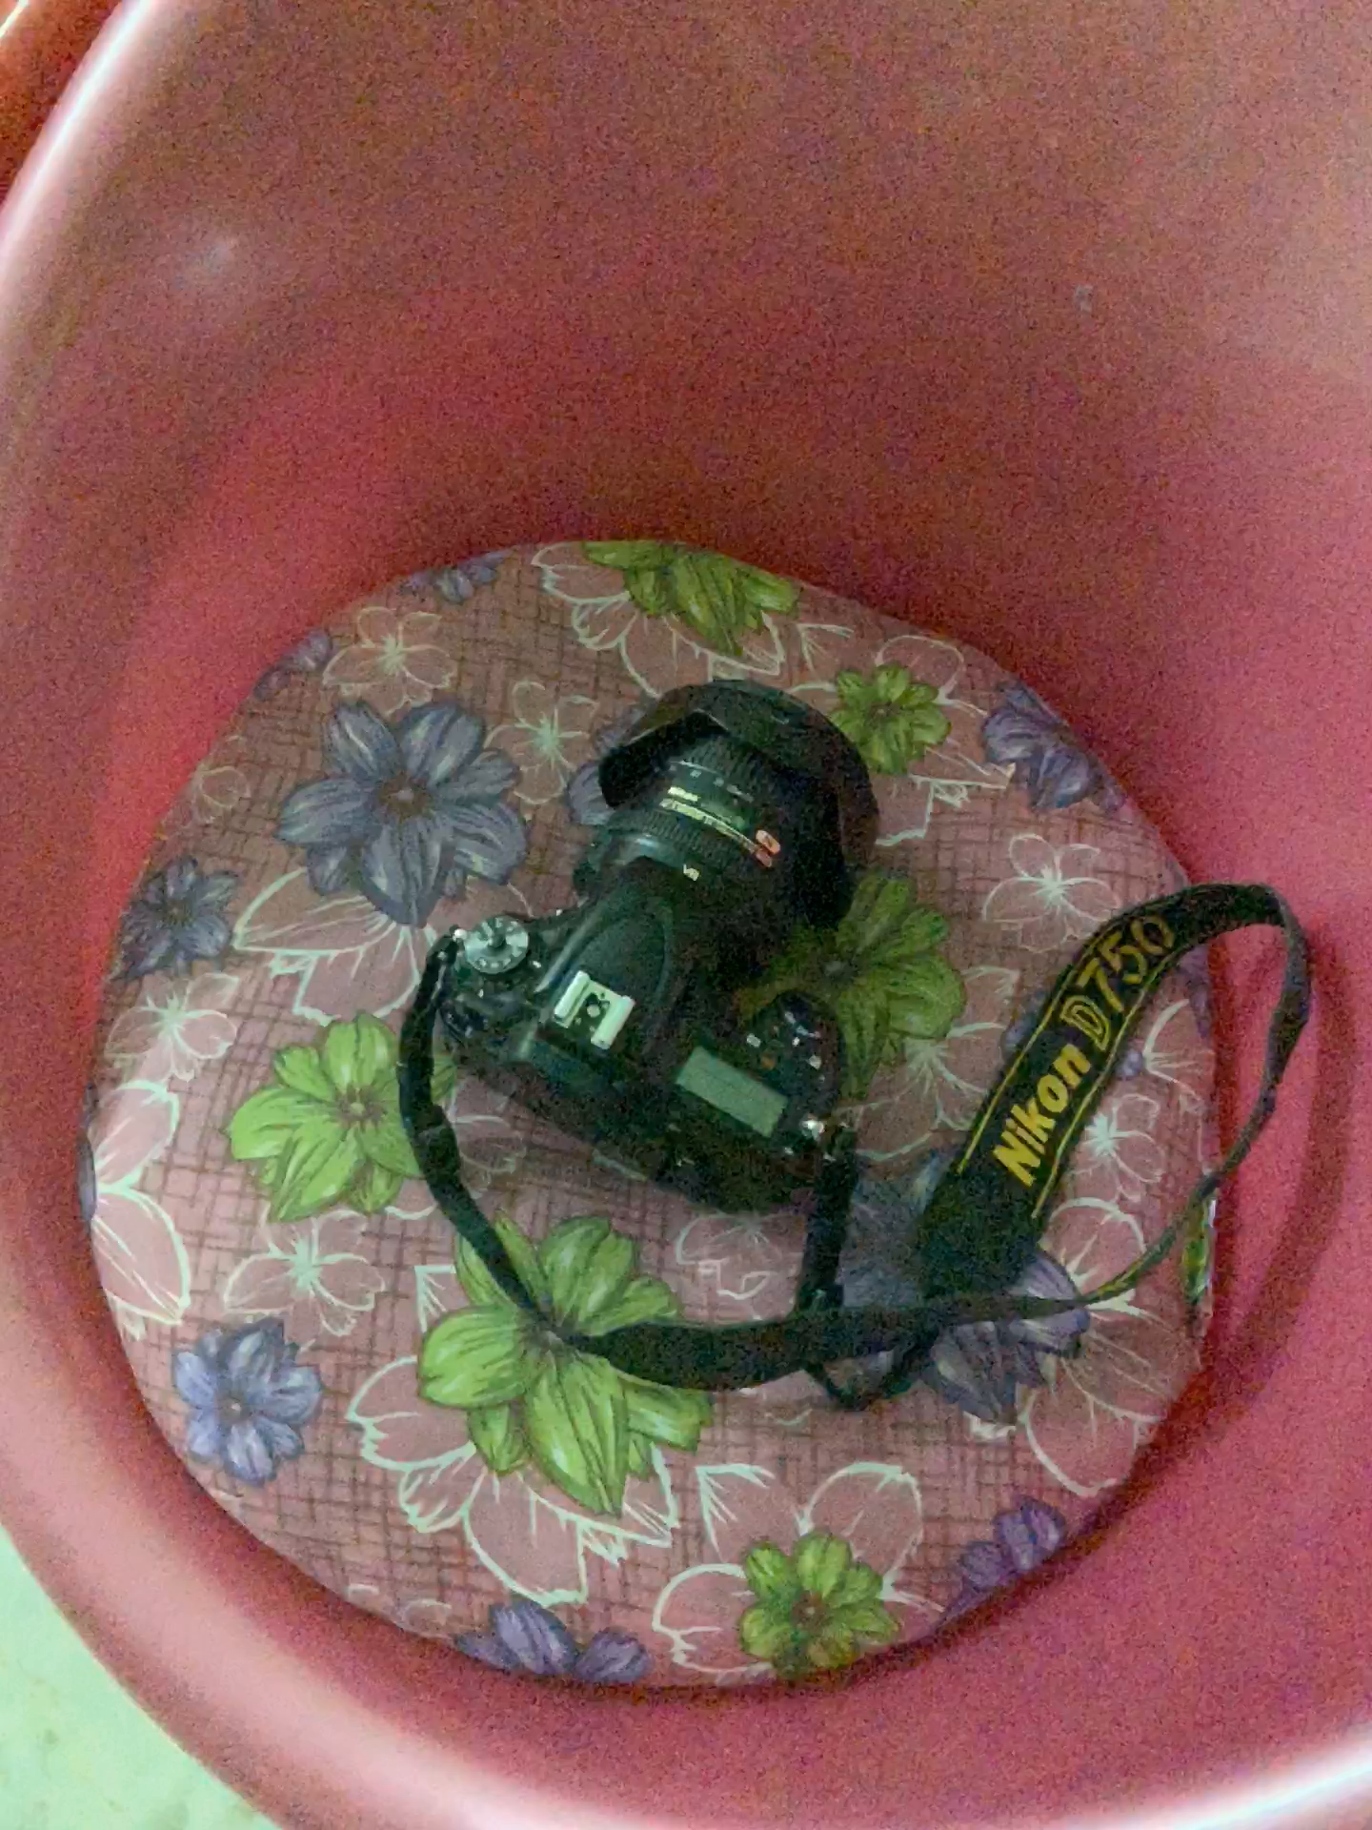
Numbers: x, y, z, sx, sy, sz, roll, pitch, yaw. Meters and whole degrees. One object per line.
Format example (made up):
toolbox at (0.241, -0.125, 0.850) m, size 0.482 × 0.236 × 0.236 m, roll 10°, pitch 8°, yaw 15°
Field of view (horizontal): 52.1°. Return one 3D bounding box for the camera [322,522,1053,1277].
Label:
camera at (0.005, -0.002, 0.519) m, size 0.166 × 0.130 × 0.192 m, roll 28°, pitch 72°, yaw 11°
